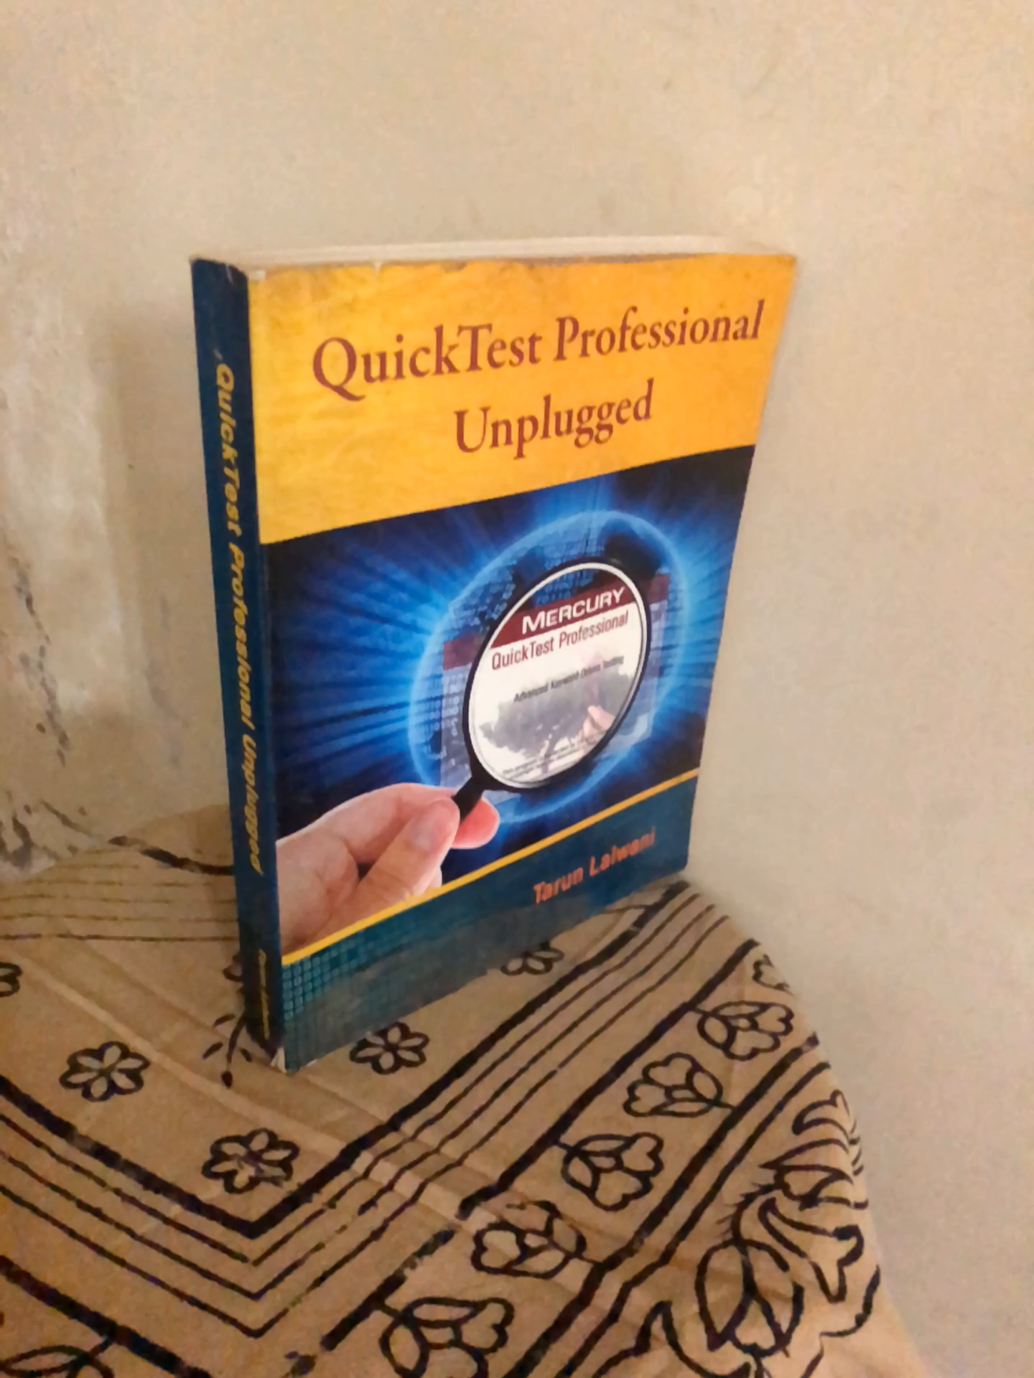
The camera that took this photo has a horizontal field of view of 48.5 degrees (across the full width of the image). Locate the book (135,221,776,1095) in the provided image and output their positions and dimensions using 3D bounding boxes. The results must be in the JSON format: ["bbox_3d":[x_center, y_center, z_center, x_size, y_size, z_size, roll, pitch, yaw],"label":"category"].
[{"bbox_3d":[-0.016,-0.018,0.411,0.211,0.269,0.050,-15,31,-37],"label":"book"}]
